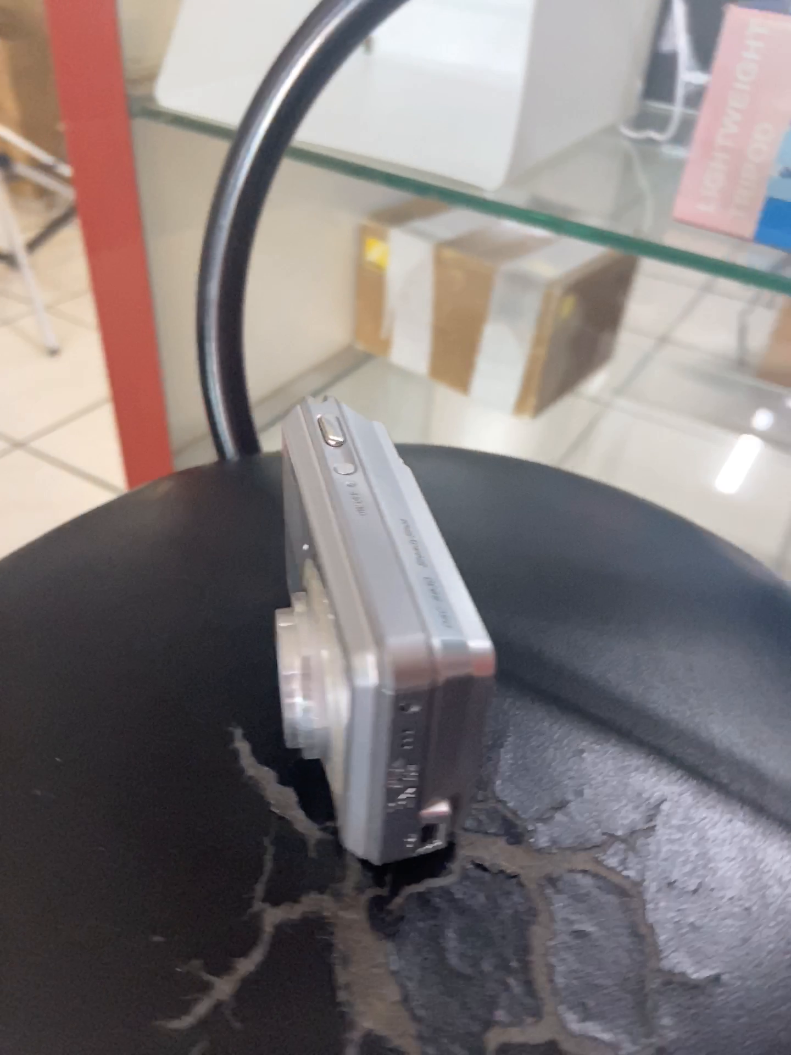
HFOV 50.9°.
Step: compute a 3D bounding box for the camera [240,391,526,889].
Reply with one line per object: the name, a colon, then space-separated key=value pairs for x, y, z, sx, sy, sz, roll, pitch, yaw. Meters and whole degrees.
camera: x=-0.009 y=0.018 z=0.174 sx=0.035 sy=0.057 sz=0.083 roll=-6 pitch=39 yaw=-14
